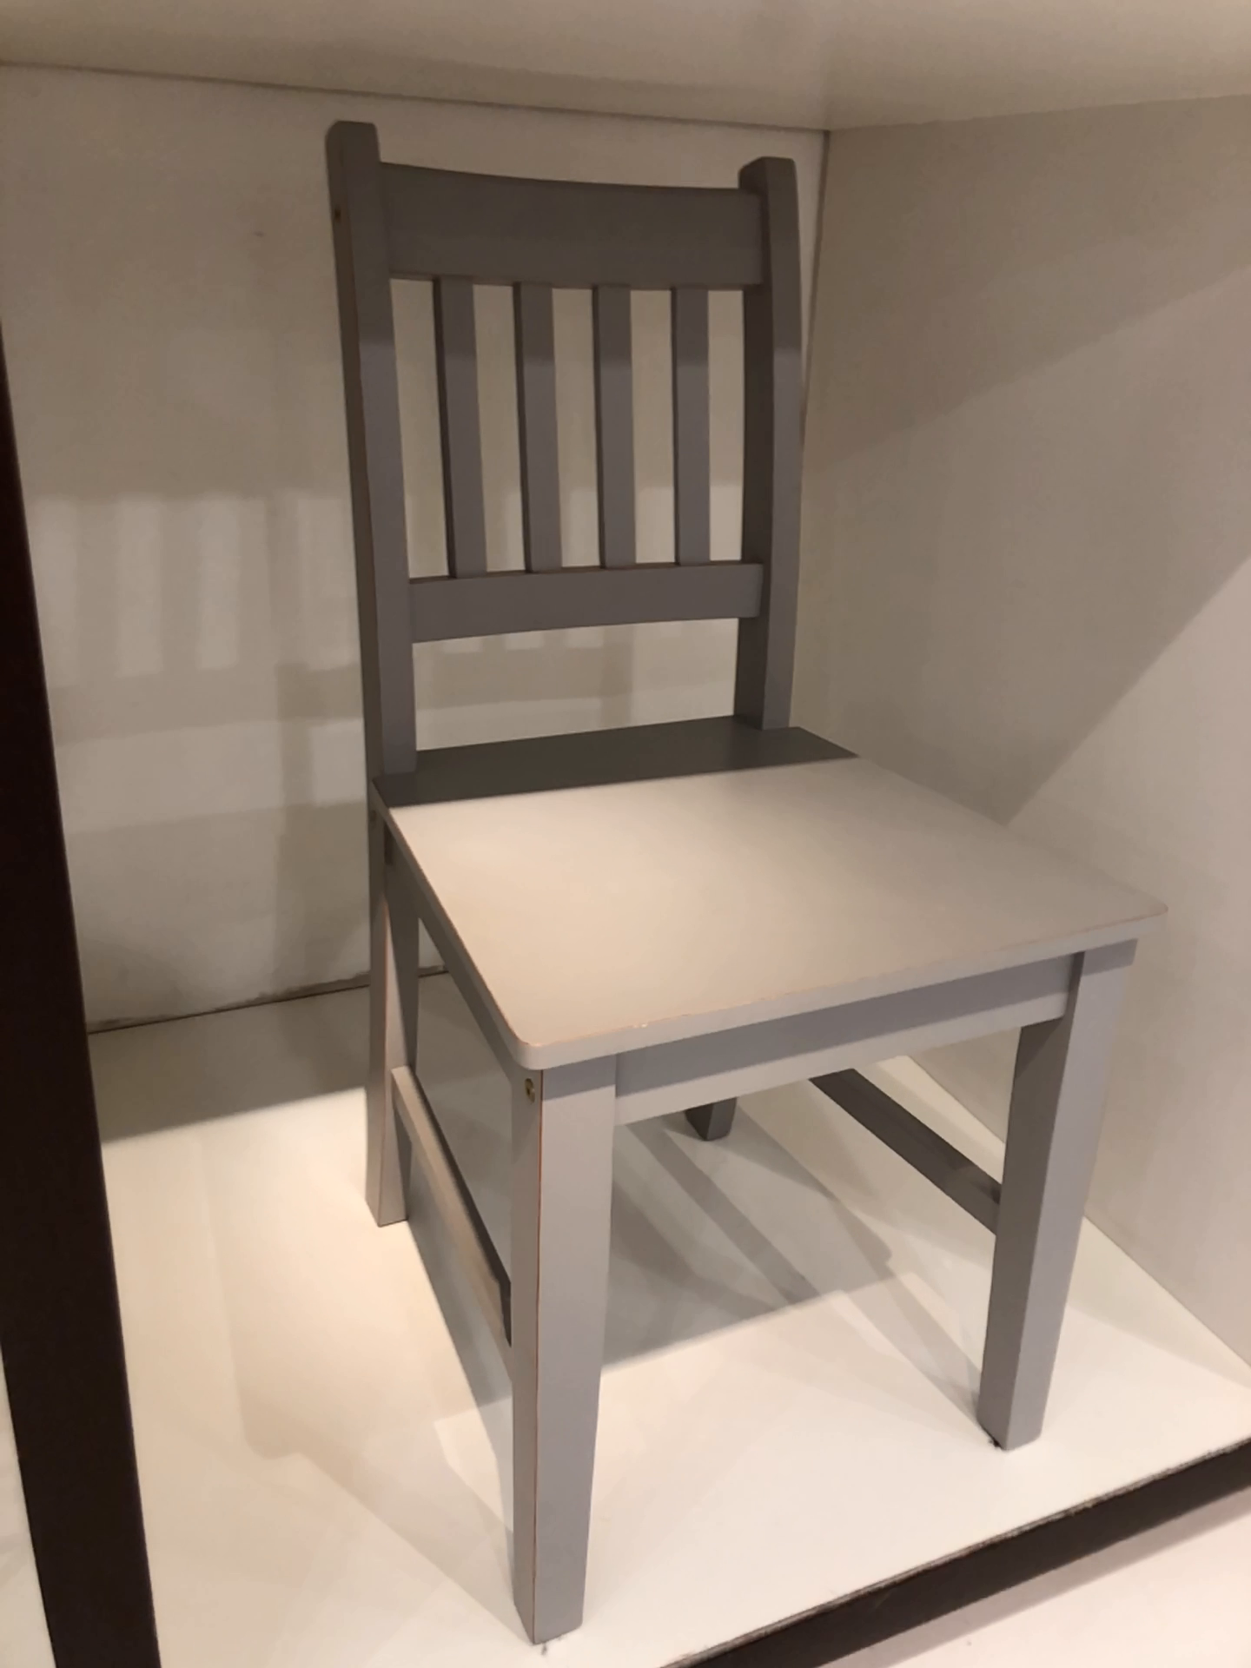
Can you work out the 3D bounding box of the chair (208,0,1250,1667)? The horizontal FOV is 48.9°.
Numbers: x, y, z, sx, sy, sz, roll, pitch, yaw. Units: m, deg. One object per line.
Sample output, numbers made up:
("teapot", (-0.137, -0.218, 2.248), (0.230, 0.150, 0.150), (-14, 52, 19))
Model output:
("chair", (0.023, -0.039, 0.978), (0.461, 0.864, 0.583), (-8, 25, -25))
